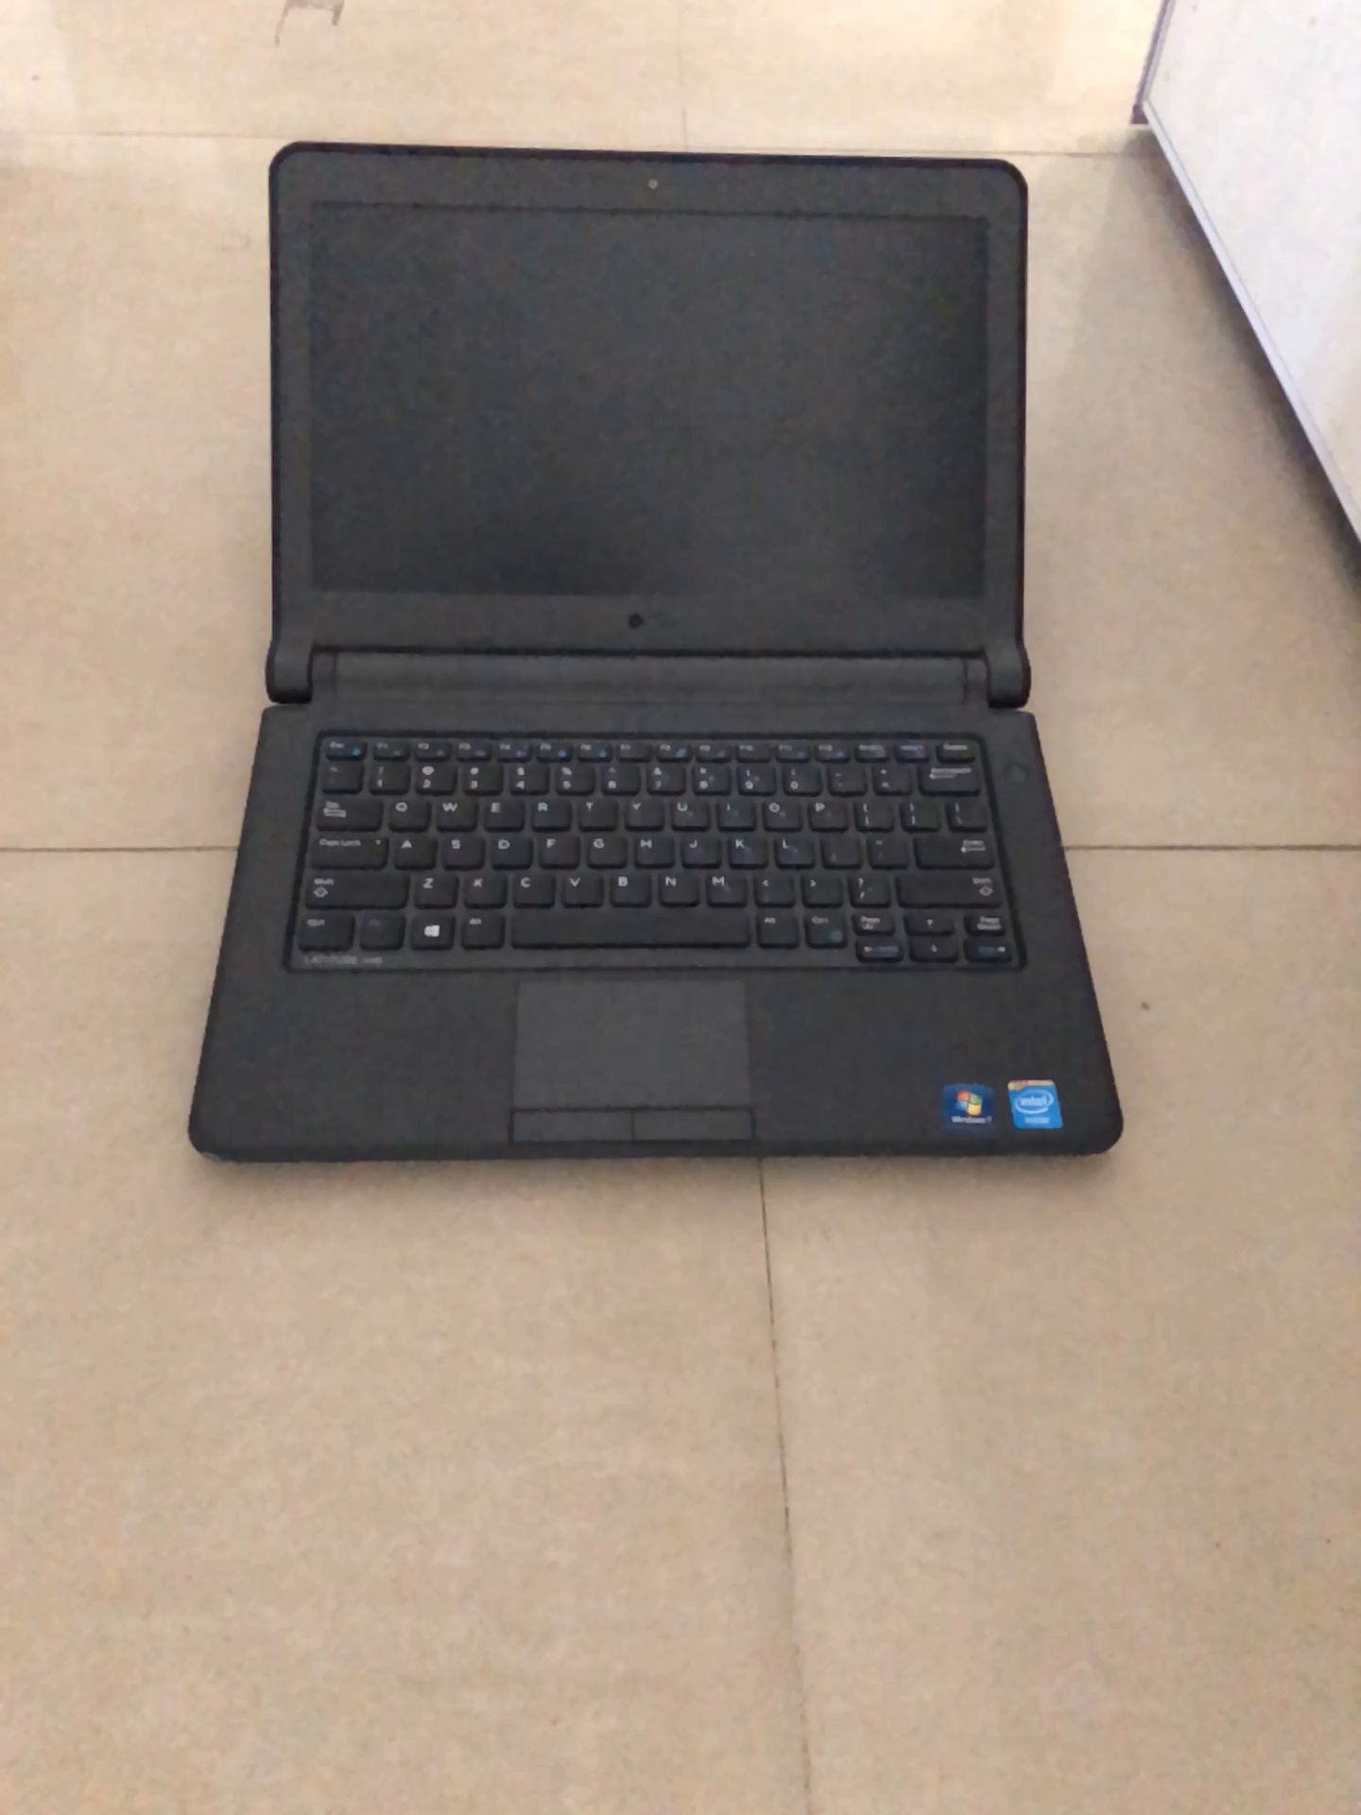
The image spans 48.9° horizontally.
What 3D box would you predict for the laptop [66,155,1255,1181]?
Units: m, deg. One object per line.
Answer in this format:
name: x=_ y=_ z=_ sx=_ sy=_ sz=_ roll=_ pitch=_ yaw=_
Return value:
laptop: x=-0.009 y=-0.111 z=0.573 sx=0.312 sy=0.154 sz=0.394 roll=0 pitch=53 yaw=-2
